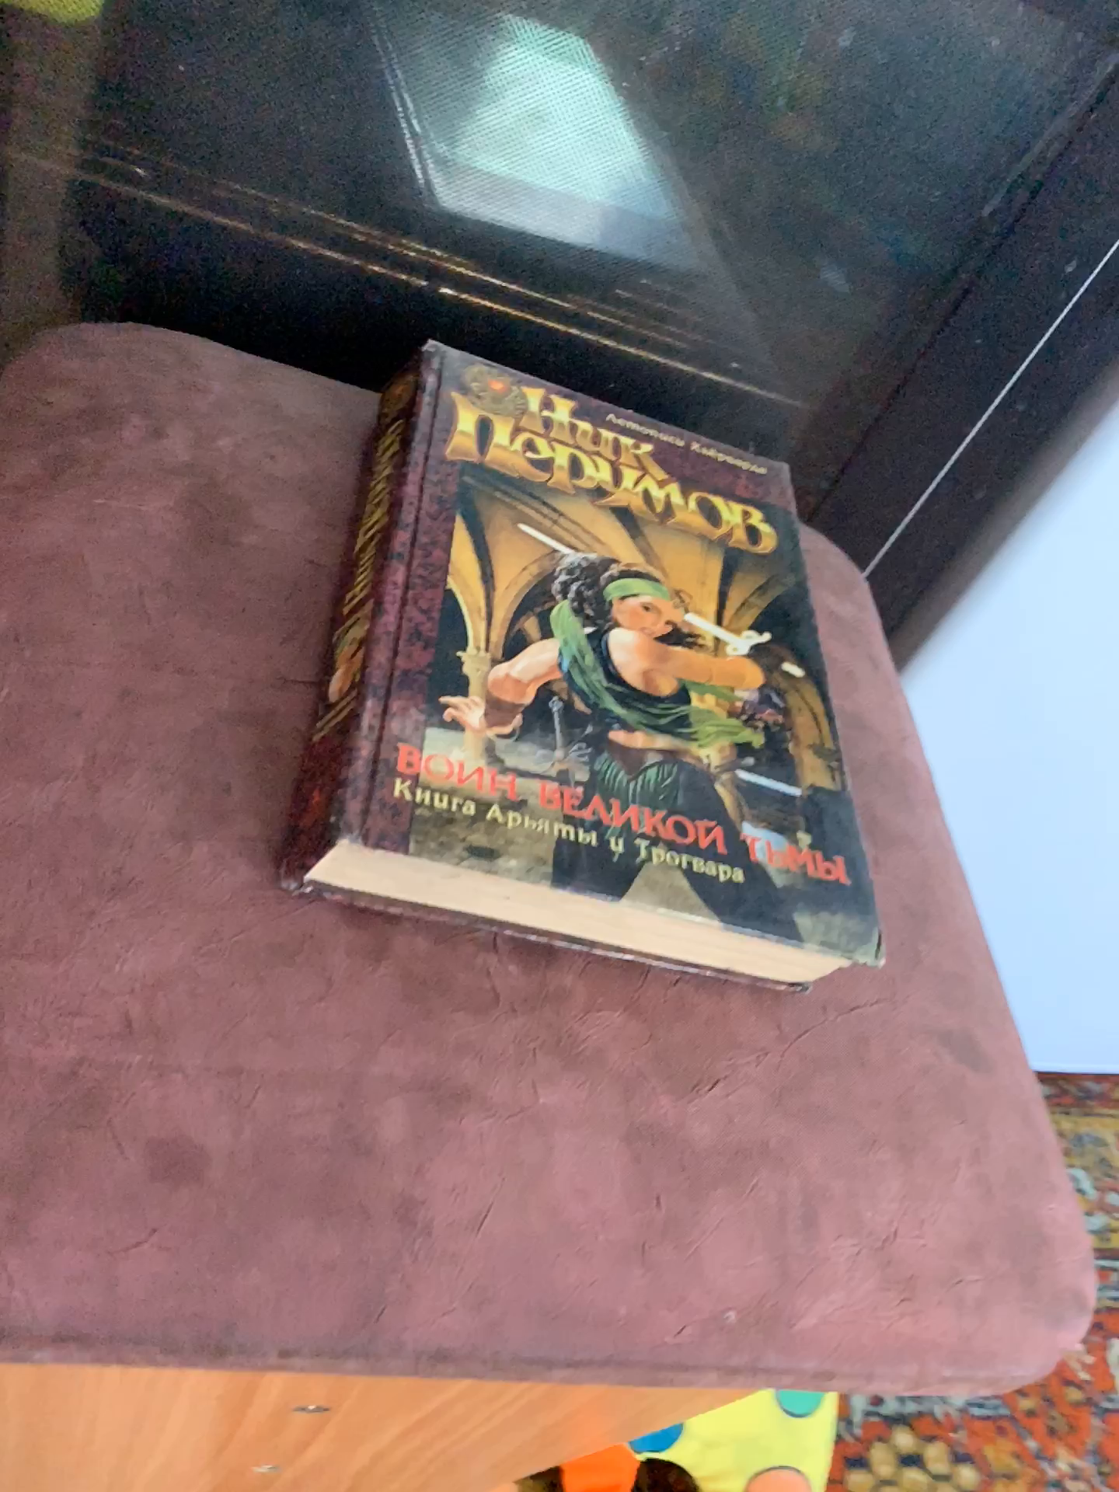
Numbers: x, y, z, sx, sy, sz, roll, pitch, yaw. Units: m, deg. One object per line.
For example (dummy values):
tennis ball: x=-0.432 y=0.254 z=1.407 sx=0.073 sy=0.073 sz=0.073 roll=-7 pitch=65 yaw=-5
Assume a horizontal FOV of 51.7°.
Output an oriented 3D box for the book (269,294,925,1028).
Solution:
book: x=0.011 y=-0.036 z=0.322 sx=0.139 sy=0.037 sz=0.206 roll=16 pitch=45 yaw=-16
